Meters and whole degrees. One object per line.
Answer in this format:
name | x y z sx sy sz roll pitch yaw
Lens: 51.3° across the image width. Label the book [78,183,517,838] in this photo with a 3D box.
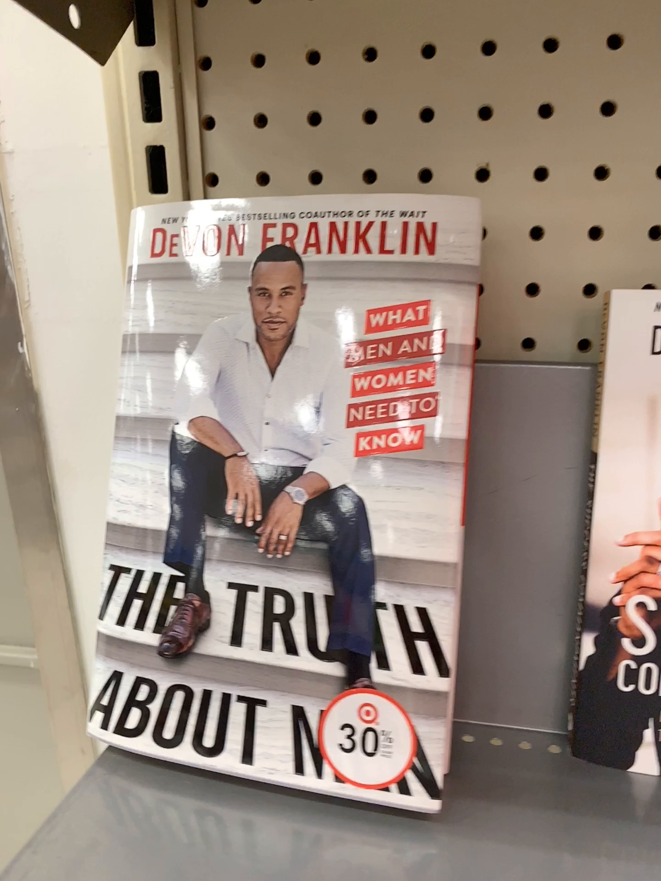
book | -0.013 0.019 0.288 0.160 0.236 0.040 4 -3 15
